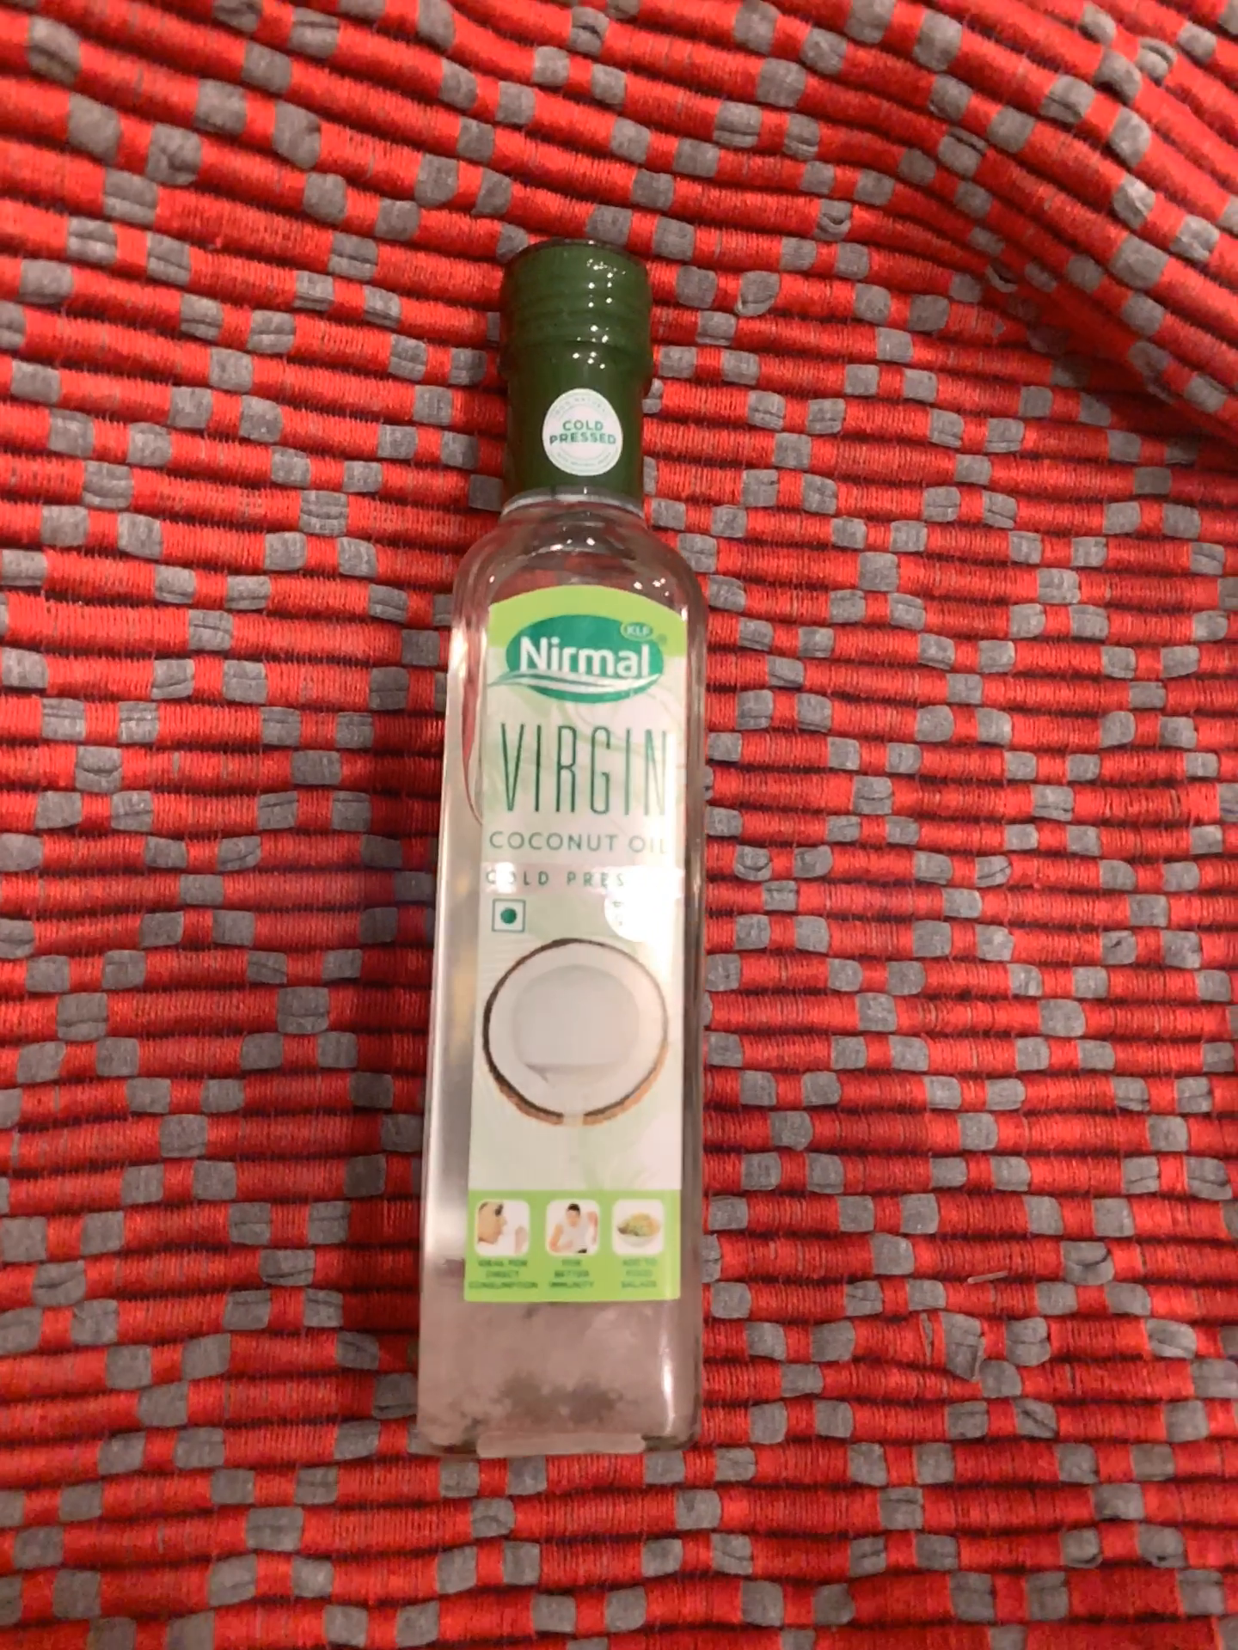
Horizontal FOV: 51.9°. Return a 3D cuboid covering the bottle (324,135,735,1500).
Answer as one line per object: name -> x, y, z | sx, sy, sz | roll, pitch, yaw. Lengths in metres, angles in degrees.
bottle -> -0.017, -0.006, 0.235 | 0.060, 0.060, 0.220 | 2, 79, -9
